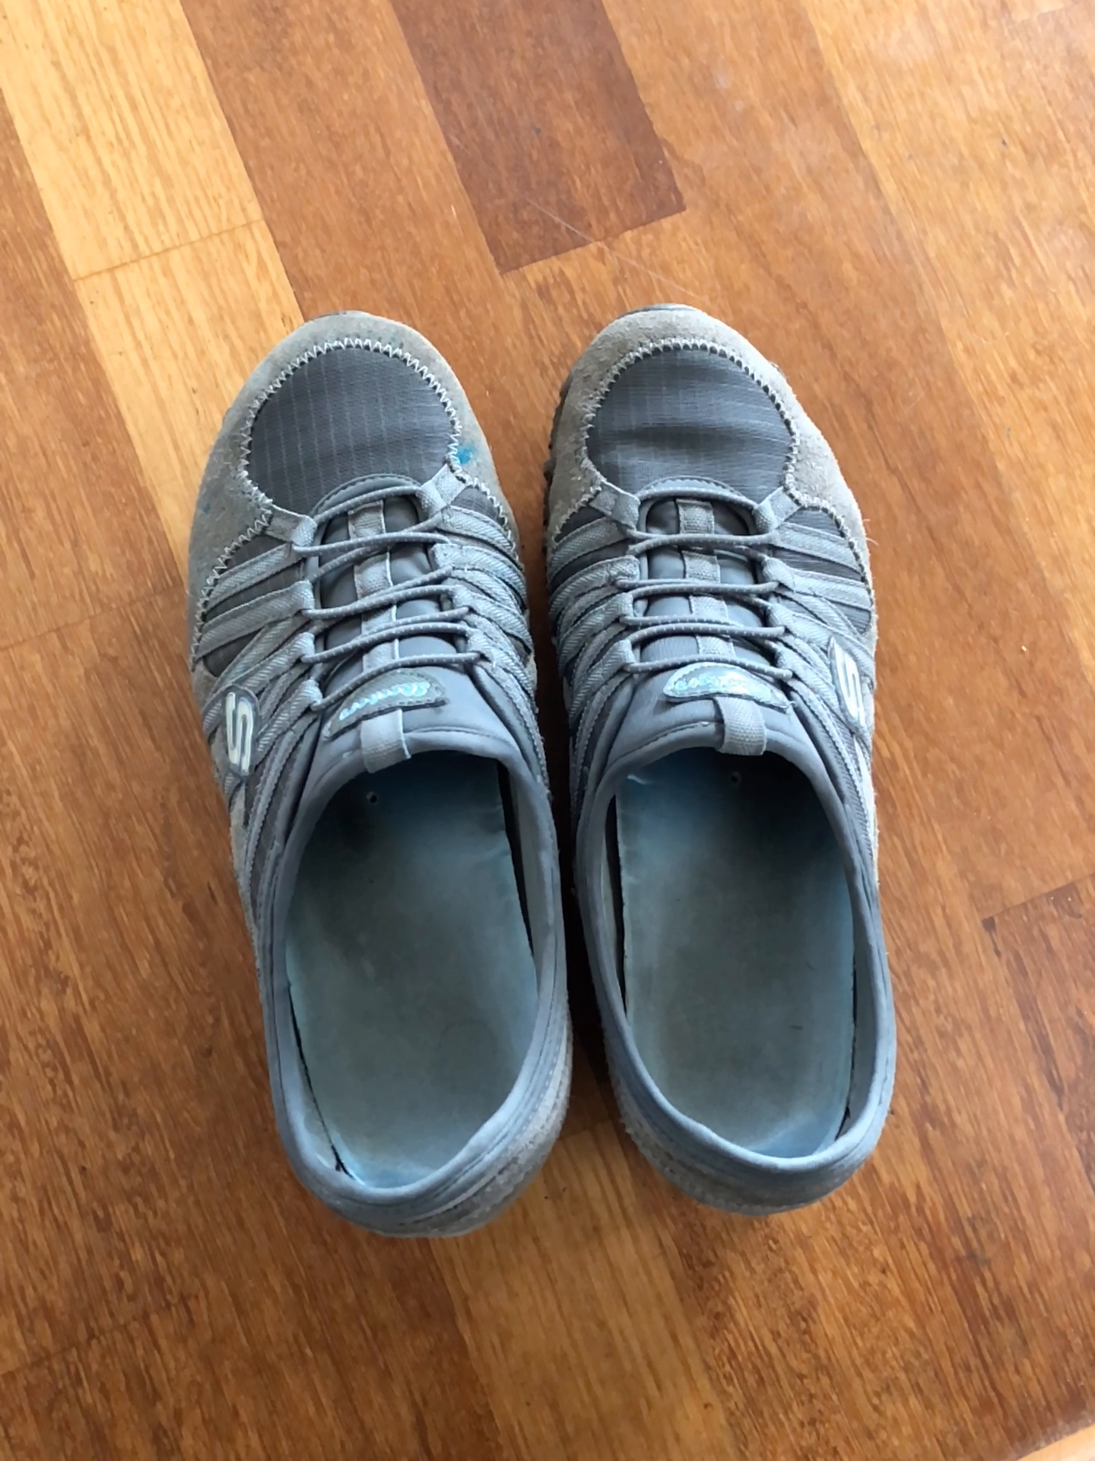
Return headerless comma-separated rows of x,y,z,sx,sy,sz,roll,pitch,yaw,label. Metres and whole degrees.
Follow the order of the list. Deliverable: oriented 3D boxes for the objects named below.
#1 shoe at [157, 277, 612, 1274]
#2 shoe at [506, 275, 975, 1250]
-0.048,0.011,0.369,0.096,0.106,0.253,-5,85,-4,shoe
0.047,0.007,0.371,0.093,0.106,0.249,-5,85,-4,shoe
